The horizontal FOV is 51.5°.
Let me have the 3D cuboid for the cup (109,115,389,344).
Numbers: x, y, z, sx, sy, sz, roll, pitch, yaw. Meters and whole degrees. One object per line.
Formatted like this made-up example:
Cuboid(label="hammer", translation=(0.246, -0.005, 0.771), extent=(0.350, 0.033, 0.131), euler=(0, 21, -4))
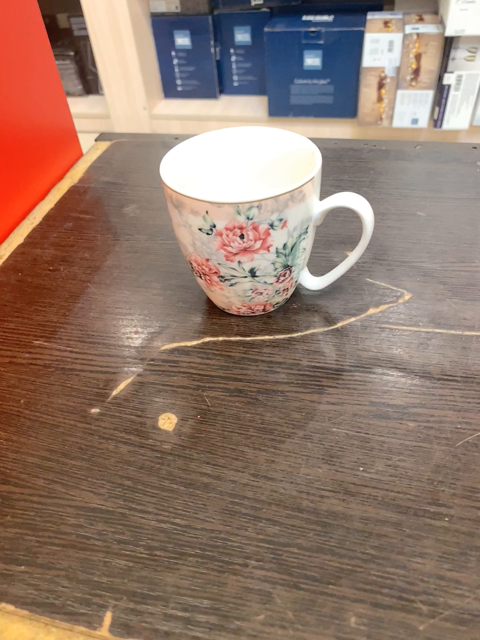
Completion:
Cuboid(label="cup", translation=(0.010, -0.051, 0.257), extent=(0.110, 0.070, 0.080), euler=(12, 46, 18))
